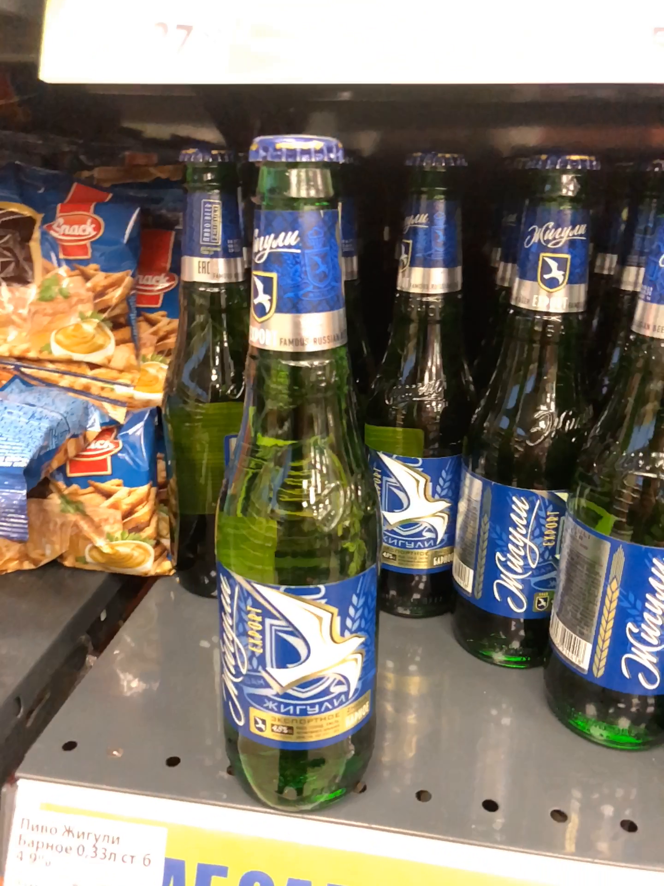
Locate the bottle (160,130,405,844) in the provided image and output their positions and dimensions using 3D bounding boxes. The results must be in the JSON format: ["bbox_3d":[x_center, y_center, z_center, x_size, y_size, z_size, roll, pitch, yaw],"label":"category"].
[{"bbox_3d":[-0.012,0.022,0.257,0.063,0.239,0.063,1,21,0],"label":"bottle"}]
